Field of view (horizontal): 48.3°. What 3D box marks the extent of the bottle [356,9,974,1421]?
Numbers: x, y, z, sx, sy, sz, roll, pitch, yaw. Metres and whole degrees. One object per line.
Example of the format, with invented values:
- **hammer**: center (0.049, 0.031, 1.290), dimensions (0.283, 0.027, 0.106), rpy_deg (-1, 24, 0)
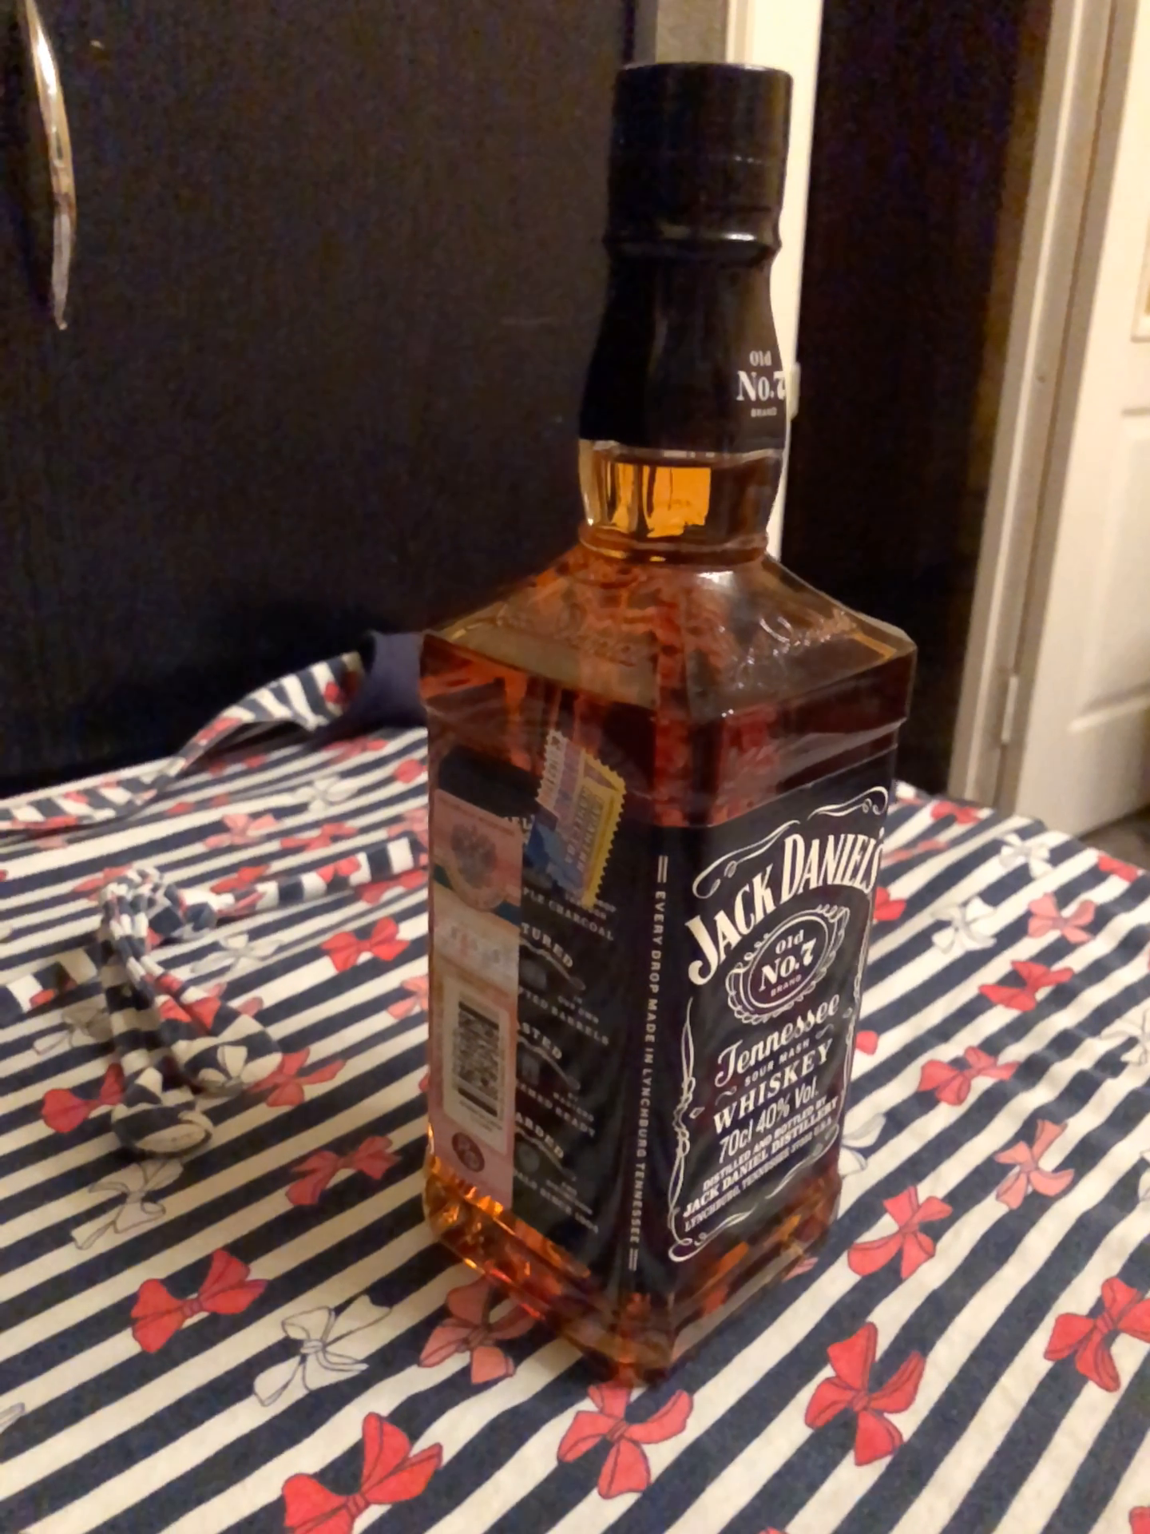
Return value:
- **bottle**: center (0.013, -0.003, 0.260), dimensions (0.073, 0.246, 0.074), rpy_deg (1, 21, 0)
